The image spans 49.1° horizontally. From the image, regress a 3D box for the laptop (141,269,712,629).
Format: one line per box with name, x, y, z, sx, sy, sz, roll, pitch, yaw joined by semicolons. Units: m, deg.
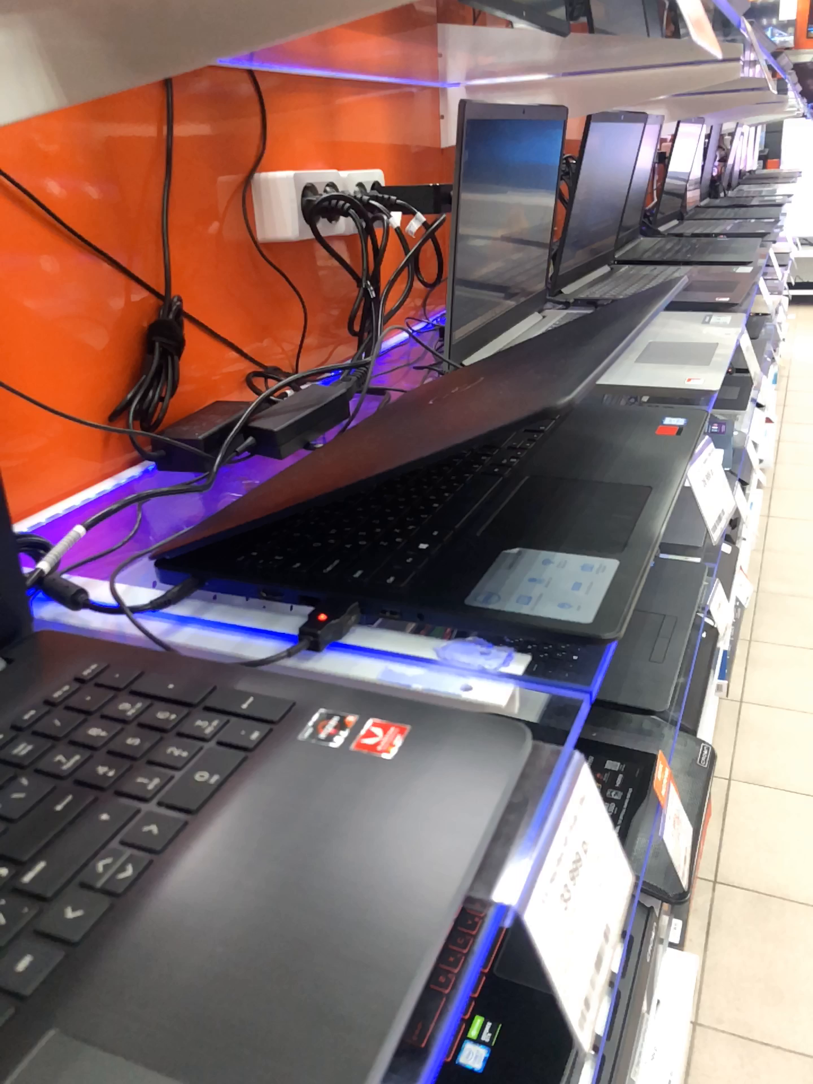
laptop;0.050;-0.096;0.569;0.238;0.100;0.372;7;26;22
